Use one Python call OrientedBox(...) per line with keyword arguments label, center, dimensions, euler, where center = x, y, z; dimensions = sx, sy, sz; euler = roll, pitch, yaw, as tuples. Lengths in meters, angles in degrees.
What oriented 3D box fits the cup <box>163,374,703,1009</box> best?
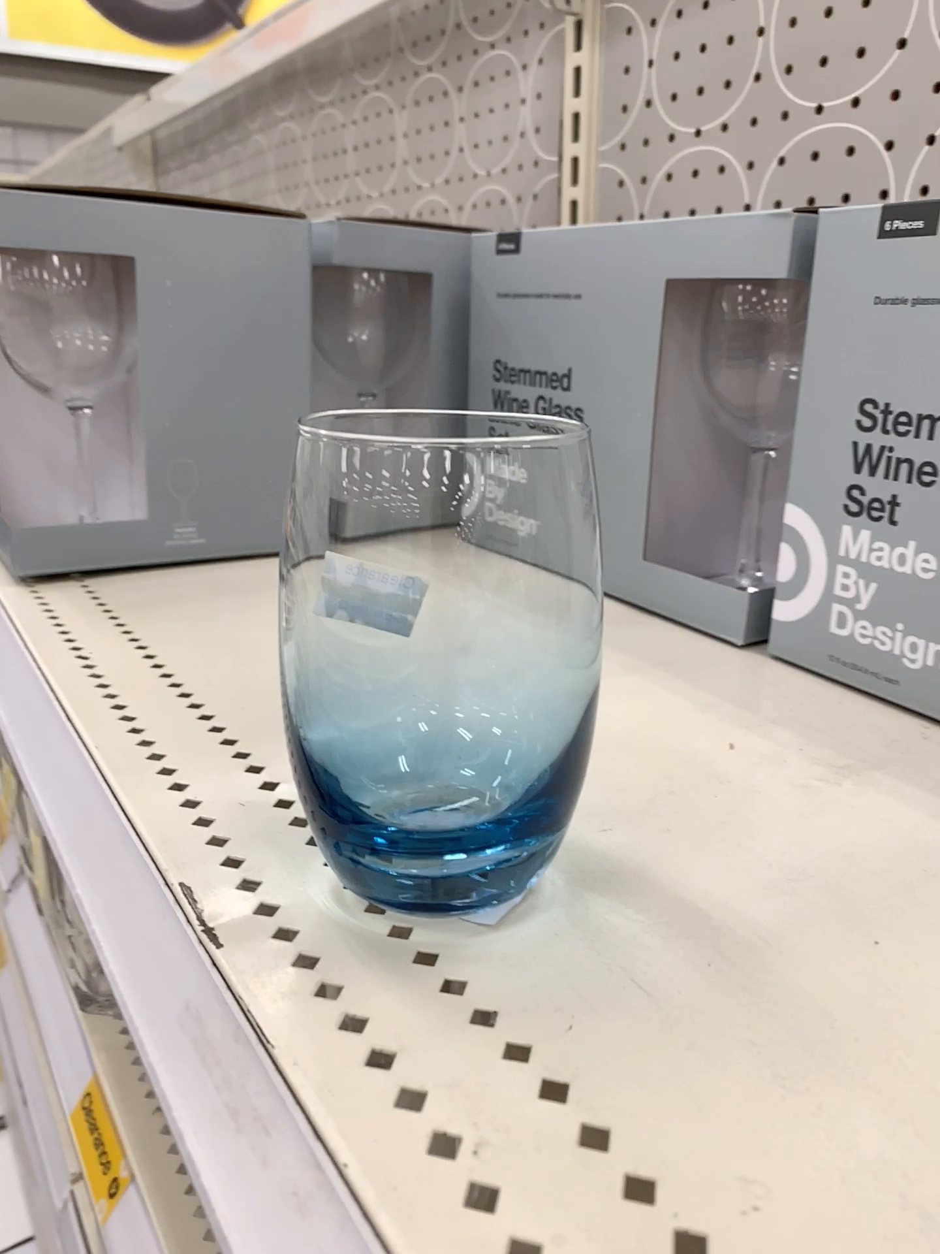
OrientedBox(label="cup", center=(-0.005, 0.003, 0.244), dimensions=(0.090, 0.120, 0.090), euler=(0, 18, 0))
